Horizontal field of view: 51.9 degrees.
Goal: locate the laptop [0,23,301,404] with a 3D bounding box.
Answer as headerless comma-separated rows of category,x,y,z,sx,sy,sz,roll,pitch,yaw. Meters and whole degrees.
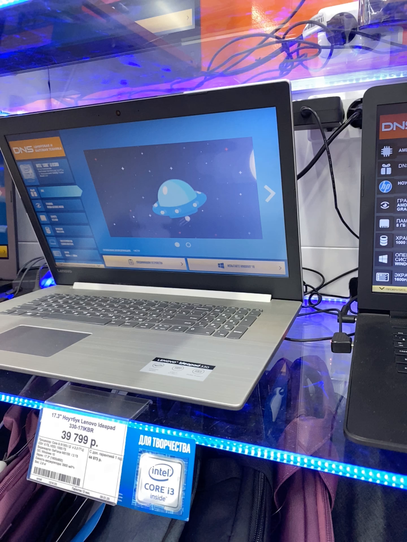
laptop,-0.120,-0.065,0.490,0.417,0.257,0.280,2,12,22
